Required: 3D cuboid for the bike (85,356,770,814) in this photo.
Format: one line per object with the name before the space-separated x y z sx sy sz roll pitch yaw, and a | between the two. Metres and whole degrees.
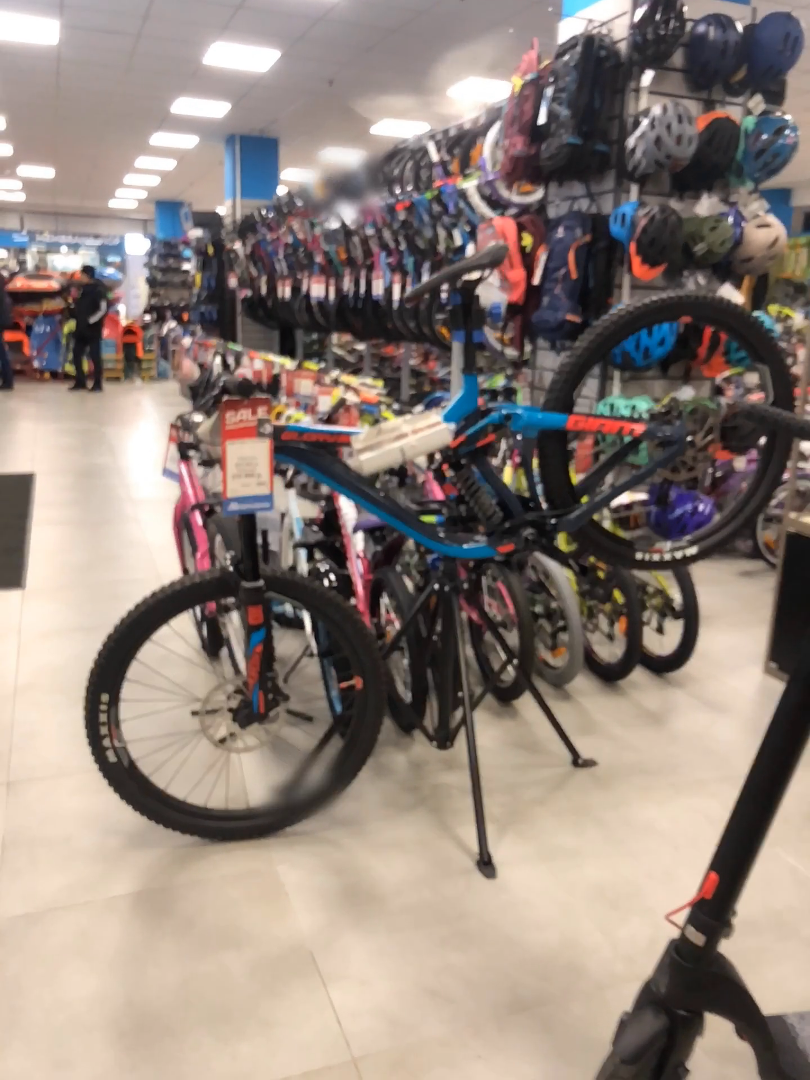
bike | -0.026 0.023 2.104 1.521 0.182 0.661 -27 19 -4
